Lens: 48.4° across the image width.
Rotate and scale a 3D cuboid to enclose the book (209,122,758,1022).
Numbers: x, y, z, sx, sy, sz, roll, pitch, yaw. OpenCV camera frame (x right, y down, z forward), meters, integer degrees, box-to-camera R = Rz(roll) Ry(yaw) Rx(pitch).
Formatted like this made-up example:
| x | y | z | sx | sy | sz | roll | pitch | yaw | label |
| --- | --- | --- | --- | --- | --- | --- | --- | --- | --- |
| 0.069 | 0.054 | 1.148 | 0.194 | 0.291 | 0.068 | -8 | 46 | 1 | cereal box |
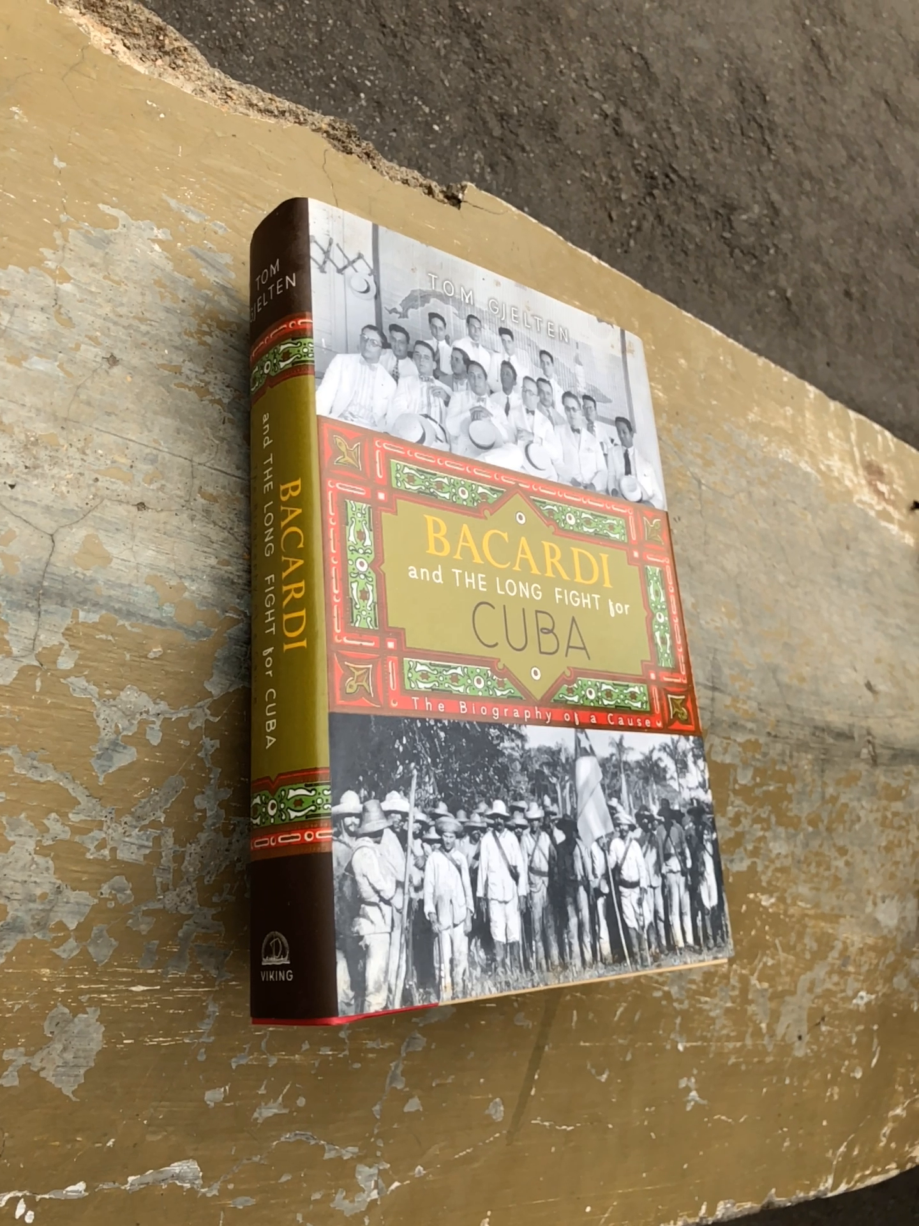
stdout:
| x | y | z | sx | sy | sz | roll | pitch | yaw | label |
| --- | --- | --- | --- | --- | --- | --- | --- | --- | --- |
| 0.008 | -0.008 | 0.338 | 0.171 | 0.050 | 0.250 | 10 | 67 | -38 | book |
